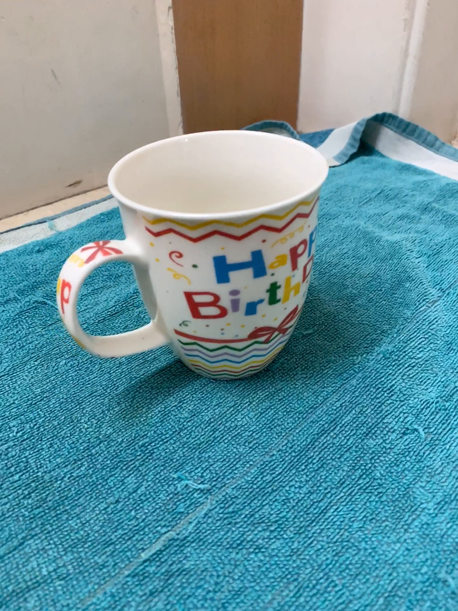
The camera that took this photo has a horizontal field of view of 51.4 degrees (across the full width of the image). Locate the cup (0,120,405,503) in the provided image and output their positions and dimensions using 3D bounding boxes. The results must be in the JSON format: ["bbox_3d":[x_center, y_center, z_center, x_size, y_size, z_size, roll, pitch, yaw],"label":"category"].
[{"bbox_3d":[-0.008,-0.010,0.214,0.130,0.099,0.091,-26,42,-28],"label":"cup"}]
